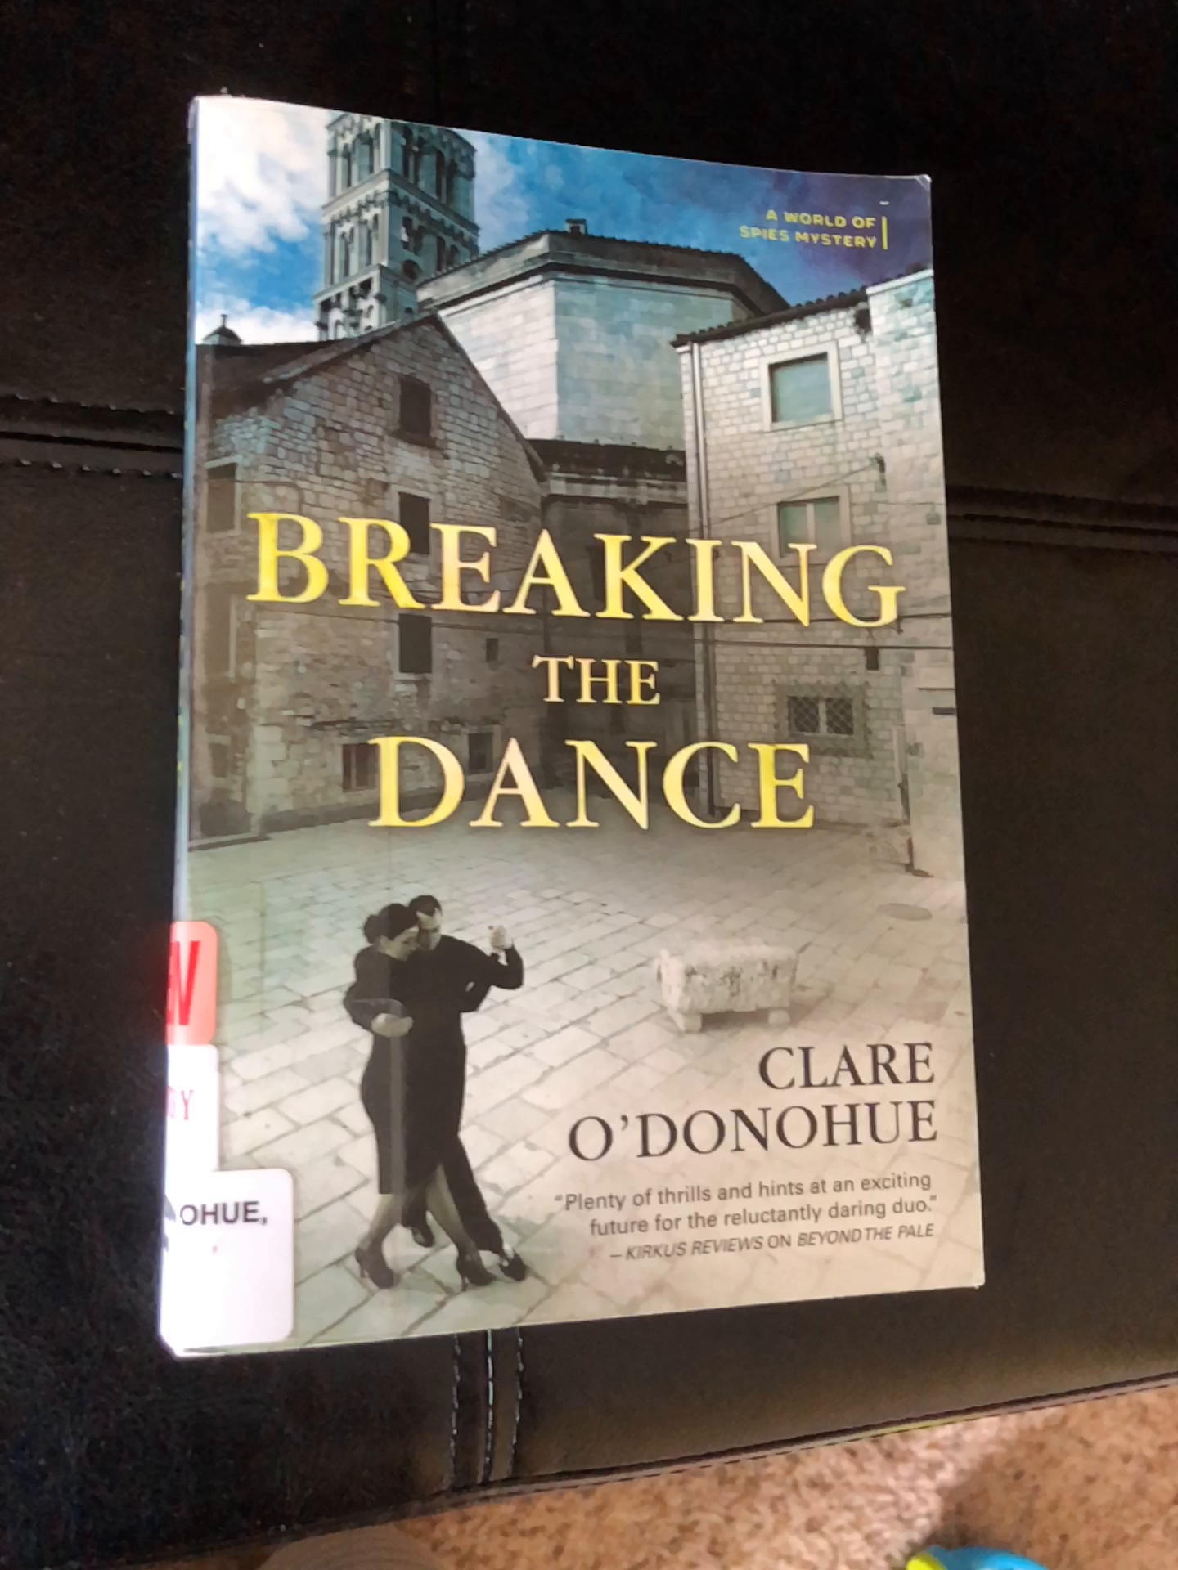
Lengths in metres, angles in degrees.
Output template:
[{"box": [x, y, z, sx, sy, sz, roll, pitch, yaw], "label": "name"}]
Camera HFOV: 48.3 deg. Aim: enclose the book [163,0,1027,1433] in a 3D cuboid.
[{"box": [0.002, -0.013, 0.231, 0.140, 0.040, 0.210, 2, 84, -20], "label": "book"}]
